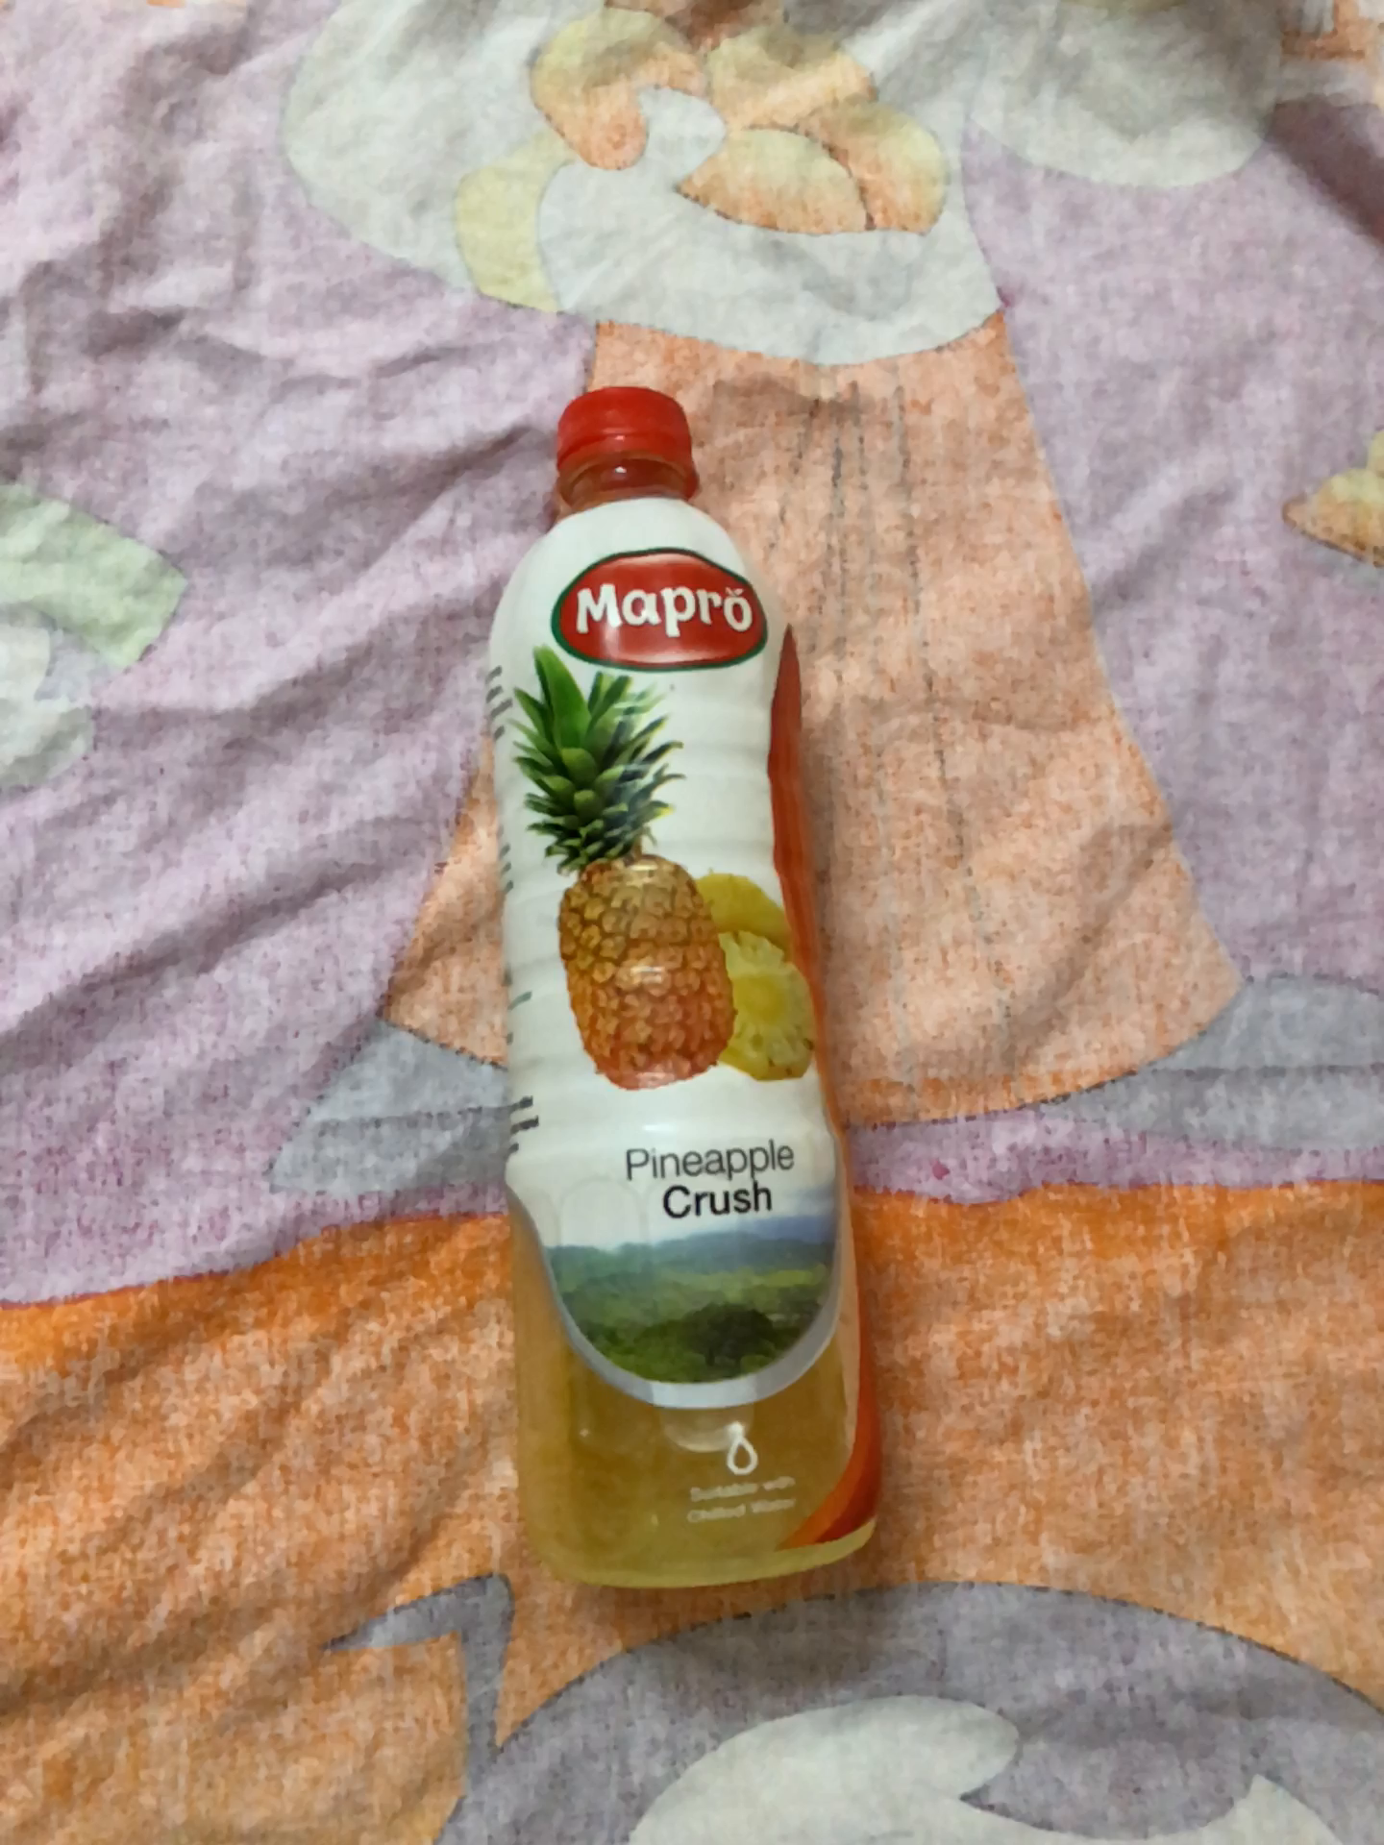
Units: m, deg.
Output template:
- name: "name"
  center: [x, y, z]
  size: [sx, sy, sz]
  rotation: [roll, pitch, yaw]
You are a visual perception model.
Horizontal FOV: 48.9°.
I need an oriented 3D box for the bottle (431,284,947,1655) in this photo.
- name: "bottle"
  center: [-0.007, 0.003, 0.313]
  size: [0.080, 0.060, 0.250]
  rotation: [-2, 81, -12]
